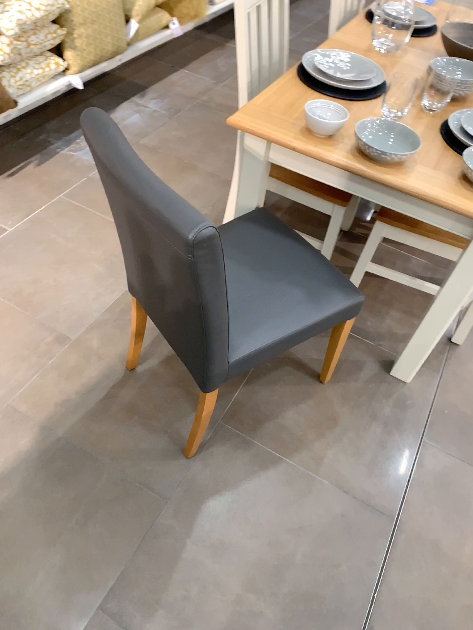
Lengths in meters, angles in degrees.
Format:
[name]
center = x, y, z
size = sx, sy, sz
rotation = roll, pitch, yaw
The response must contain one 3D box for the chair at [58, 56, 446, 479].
[chair]
center = -0.006, -0.097, 1.328
size = 0.652, 0.907, 0.477
rotation = -25, 57, -27
